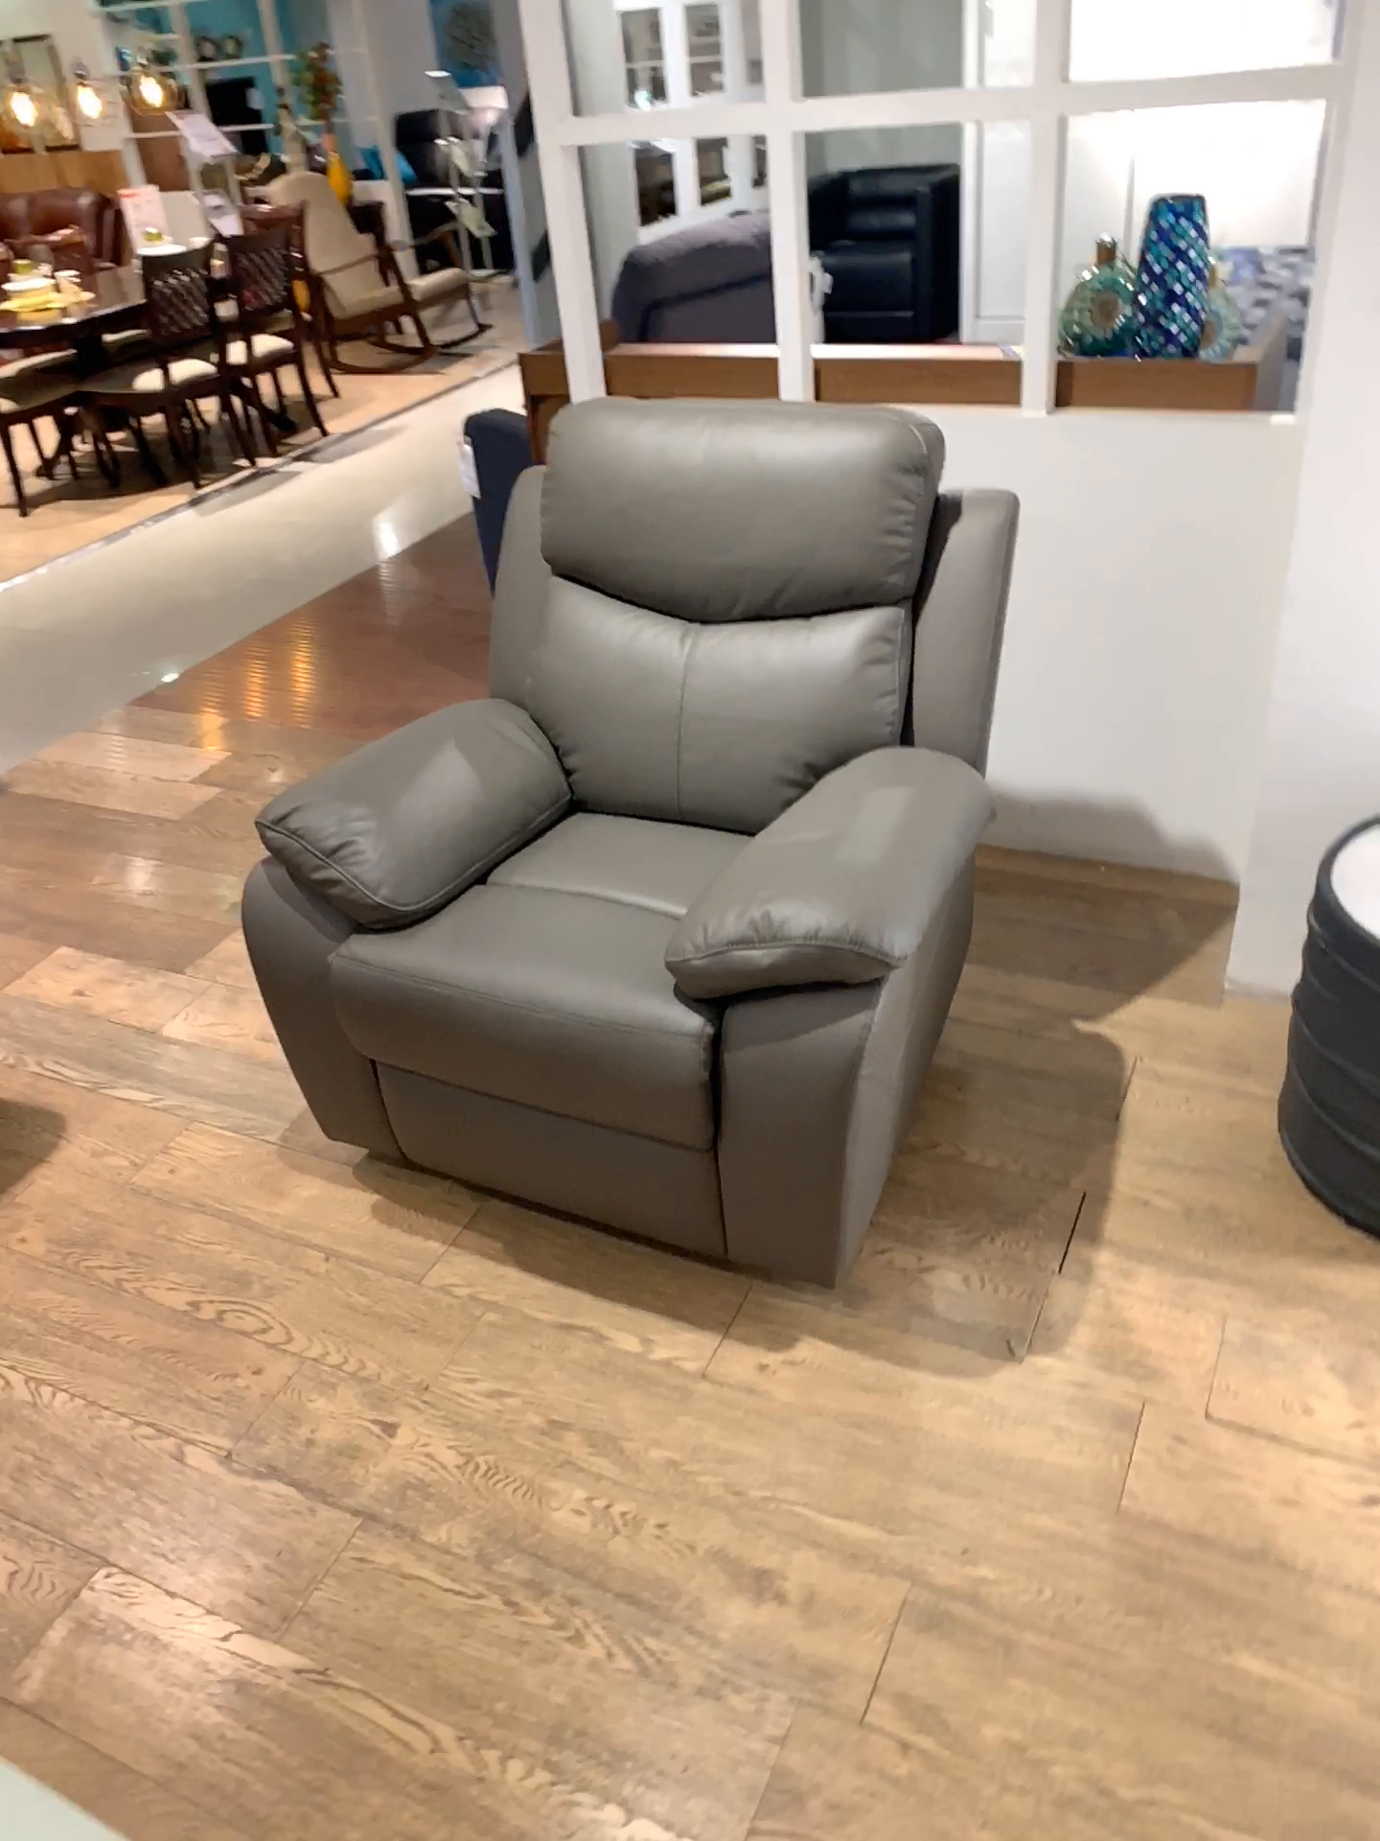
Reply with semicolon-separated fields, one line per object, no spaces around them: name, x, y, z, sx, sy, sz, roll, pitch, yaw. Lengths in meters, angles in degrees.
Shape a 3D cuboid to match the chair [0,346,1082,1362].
chair;-0.095;-0.203;1.961;1.001;0.936;0.943;11;36;25
